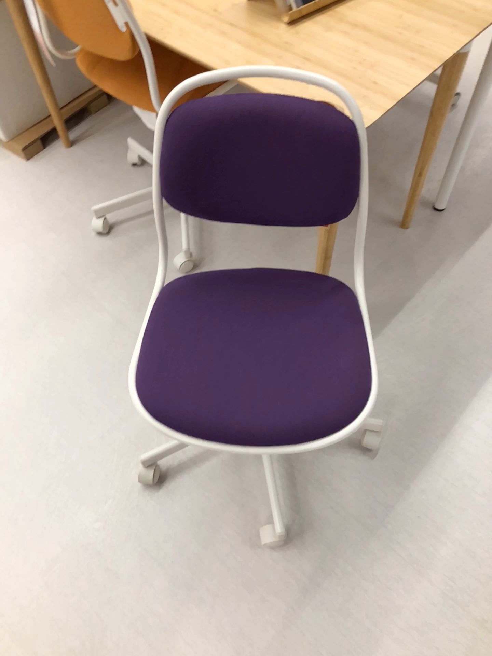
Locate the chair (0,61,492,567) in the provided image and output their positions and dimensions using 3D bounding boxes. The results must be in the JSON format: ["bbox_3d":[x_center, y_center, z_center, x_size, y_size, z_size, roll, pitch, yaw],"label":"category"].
[{"bbox_3d":[0.034,0.025,1.092,0.620,0.776,0.663,4,56,5],"label":"chair"}]
